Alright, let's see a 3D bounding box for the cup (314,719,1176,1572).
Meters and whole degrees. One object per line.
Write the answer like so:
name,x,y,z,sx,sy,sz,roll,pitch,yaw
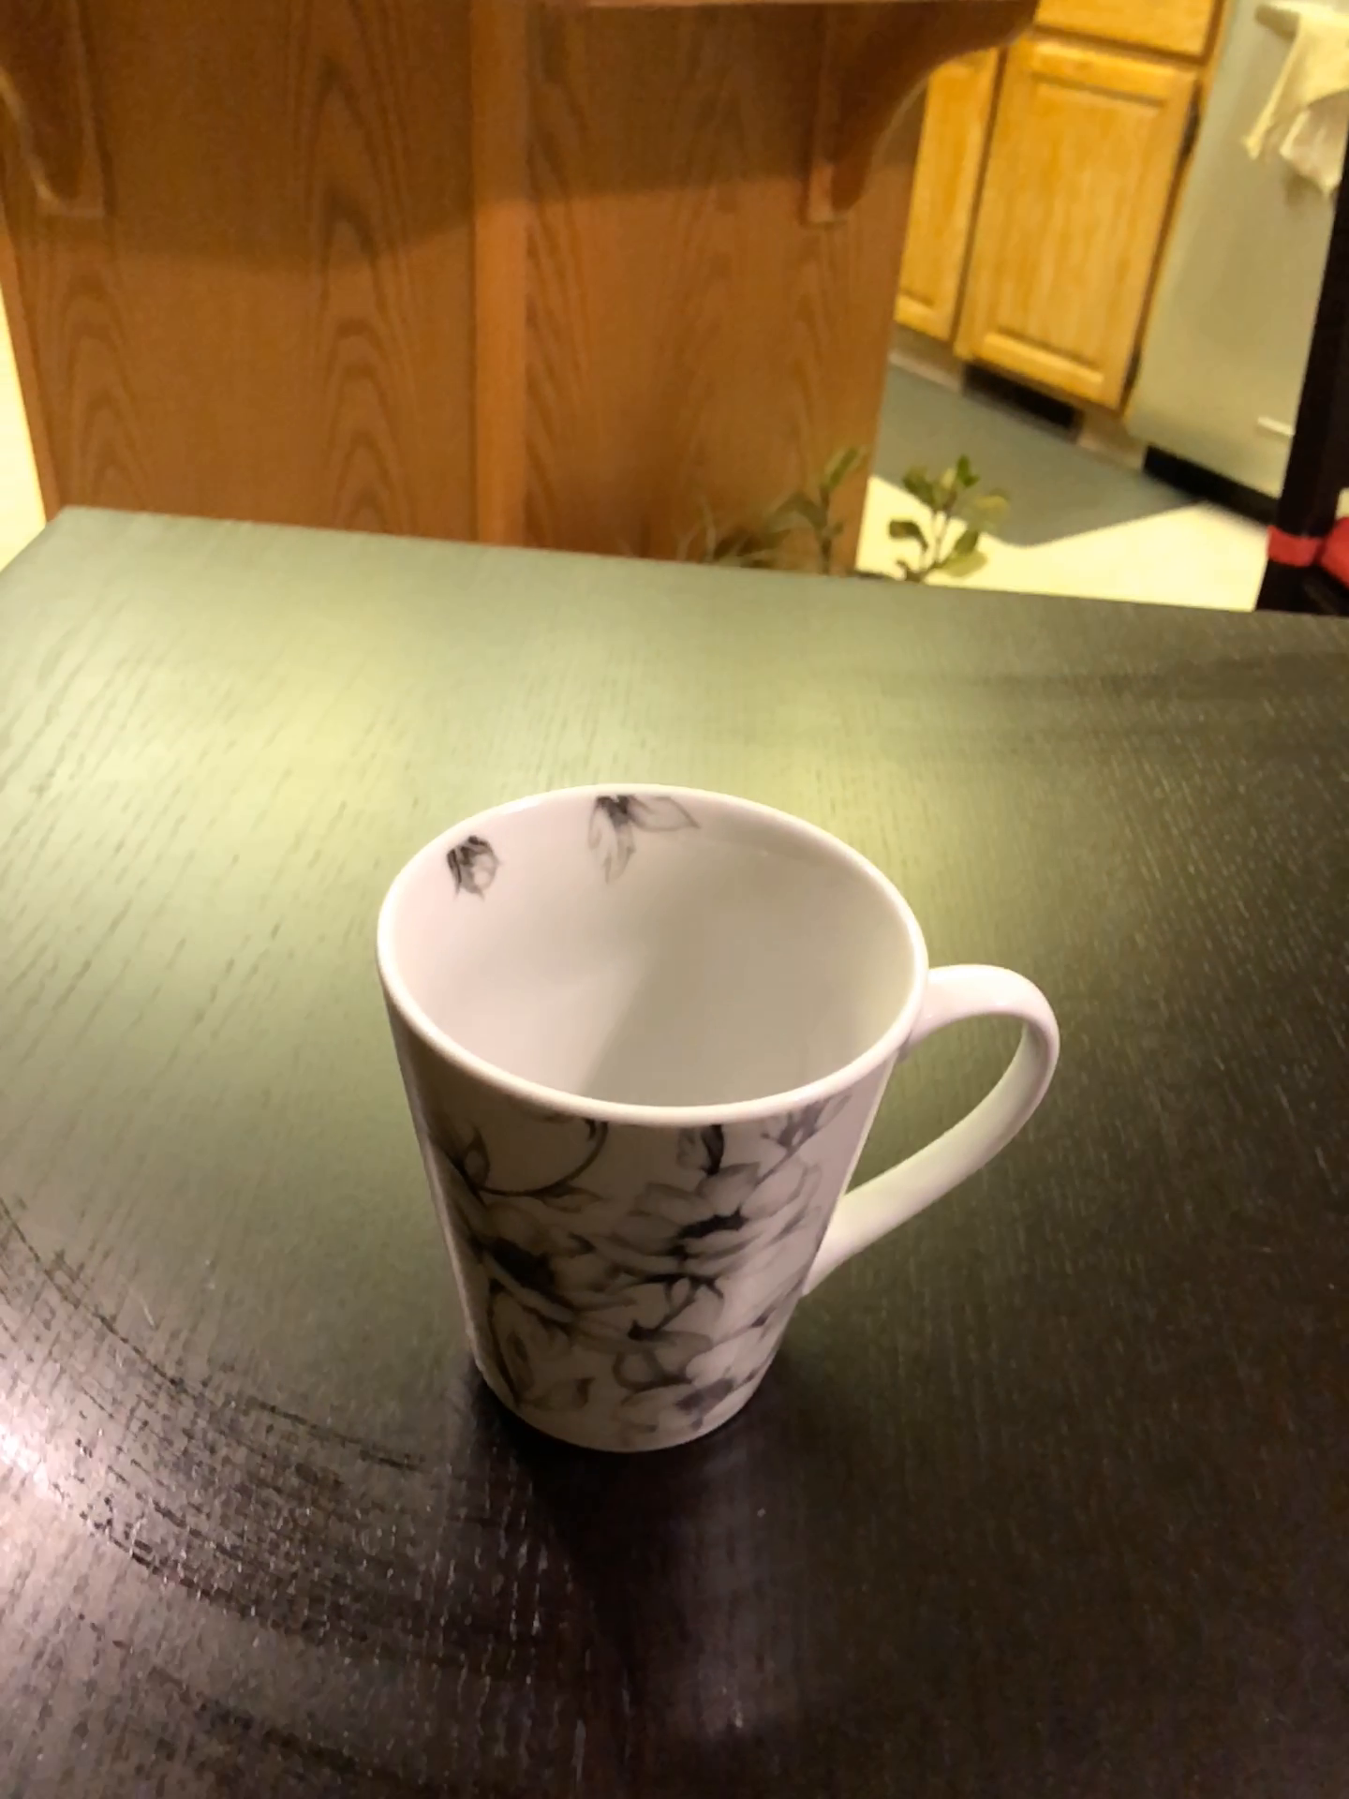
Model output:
cup,0.001,0.038,0.277,0.120,0.099,0.101,-5,36,-13
